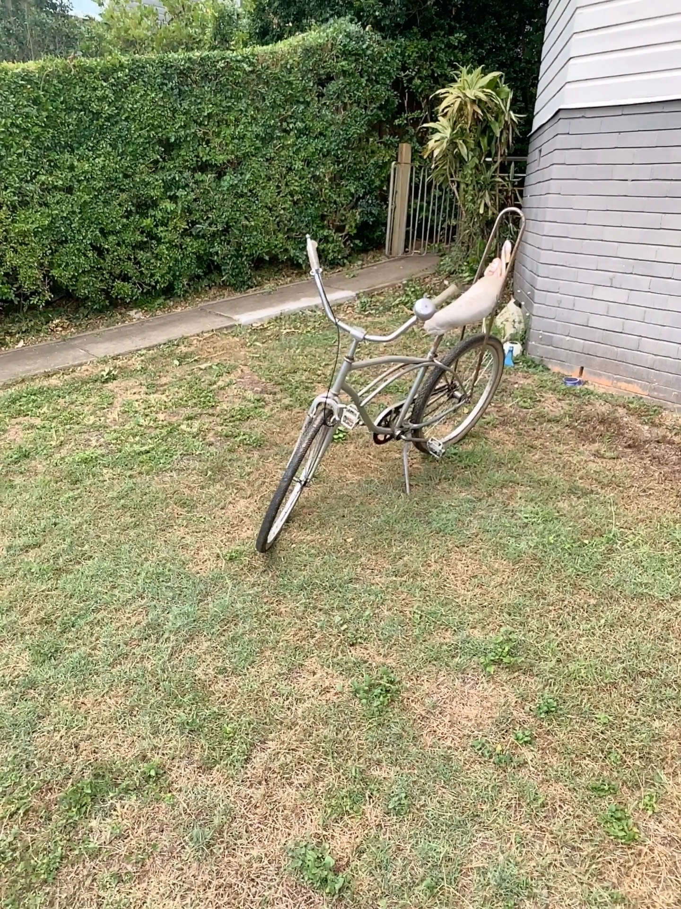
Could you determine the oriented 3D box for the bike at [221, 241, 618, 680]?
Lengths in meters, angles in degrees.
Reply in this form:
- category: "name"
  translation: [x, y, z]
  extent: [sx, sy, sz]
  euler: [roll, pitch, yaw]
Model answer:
- category: "bike"
  translation: [0.363, -0.162, 2.936]
  extent: [0.802, 0.990, 1.604]
  euler: [19, 34, 38]
